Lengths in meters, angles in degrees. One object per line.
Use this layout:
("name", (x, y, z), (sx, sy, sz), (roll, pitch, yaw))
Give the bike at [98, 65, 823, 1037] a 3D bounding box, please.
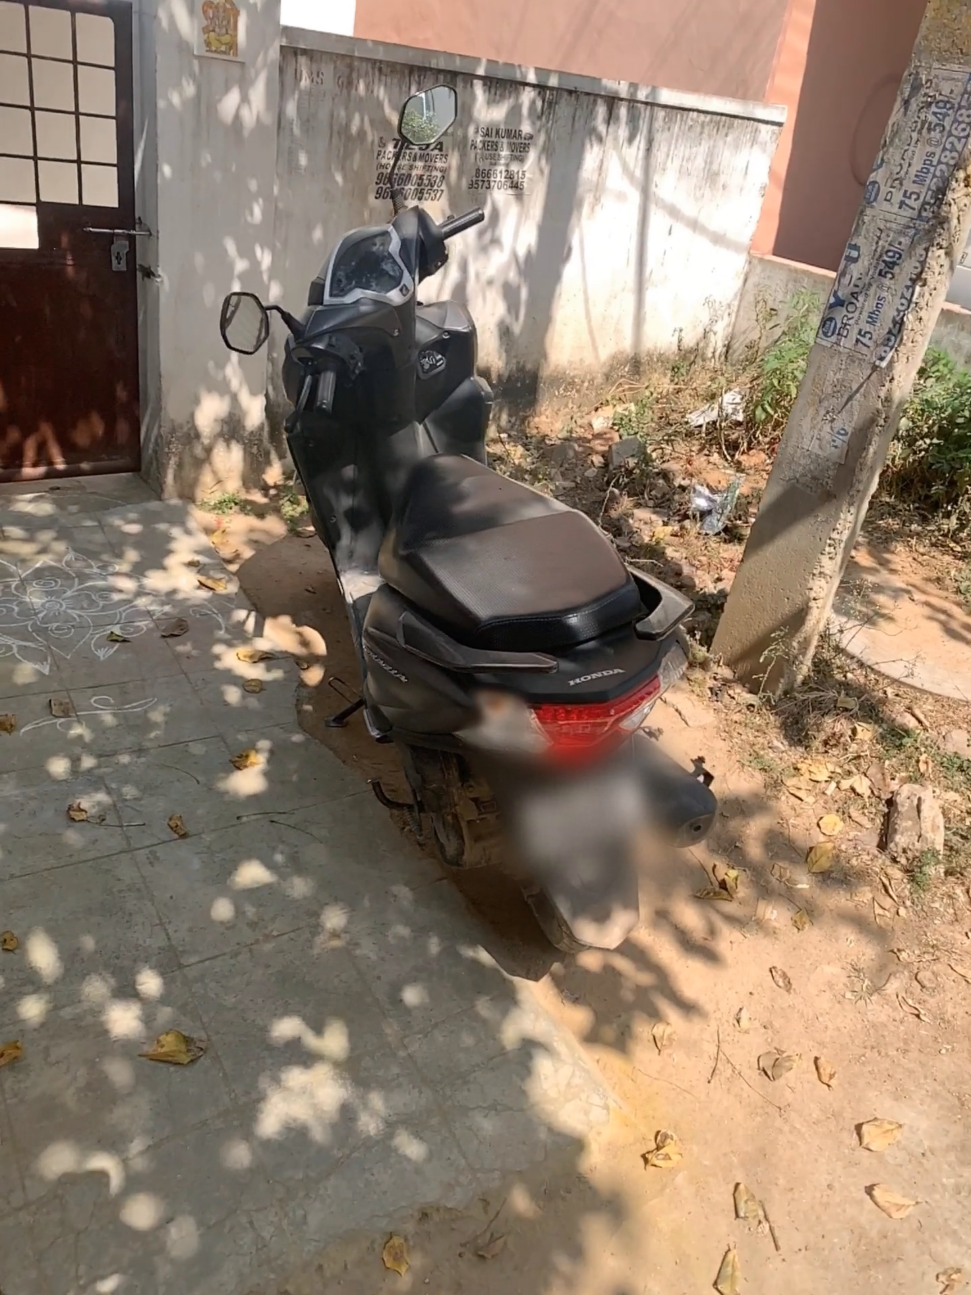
("bike", (-0.275, -0.315, 1.983), (0.607, 1.176, 1.514), (-7, 36, -28))
